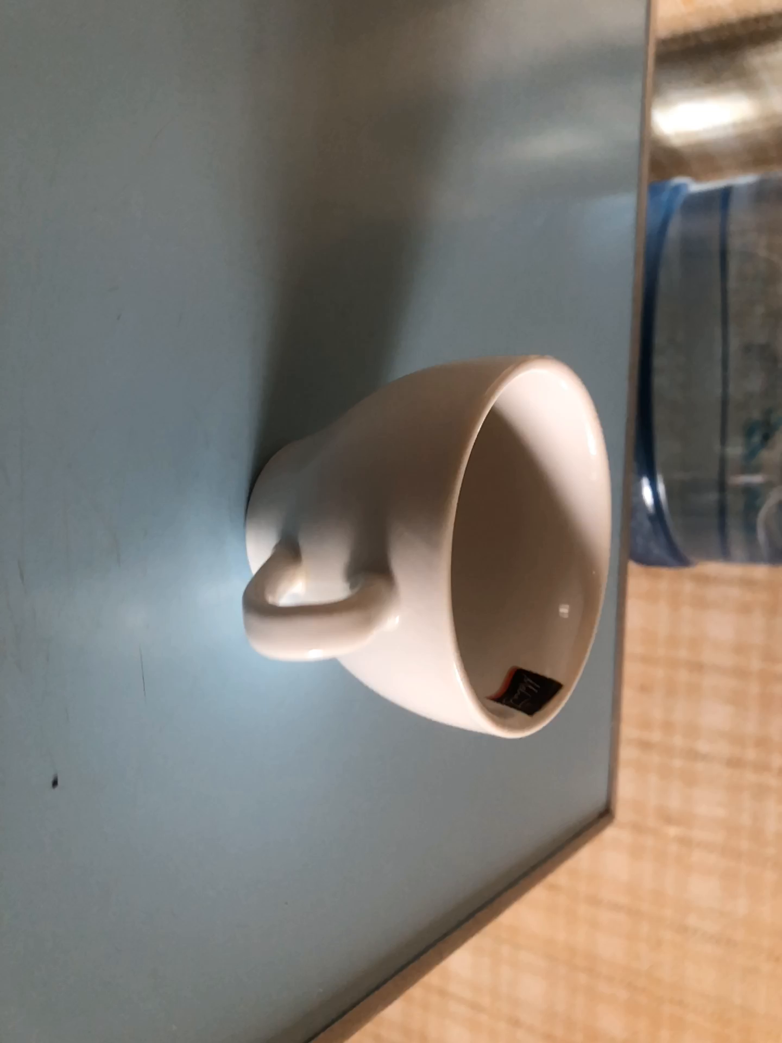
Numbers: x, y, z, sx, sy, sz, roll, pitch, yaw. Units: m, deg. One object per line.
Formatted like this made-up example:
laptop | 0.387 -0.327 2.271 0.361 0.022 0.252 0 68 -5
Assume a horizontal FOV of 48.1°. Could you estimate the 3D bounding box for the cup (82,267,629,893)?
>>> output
cup | 0.004 0.001 0.196 0.107 0.057 0.096 -30 117 -51
